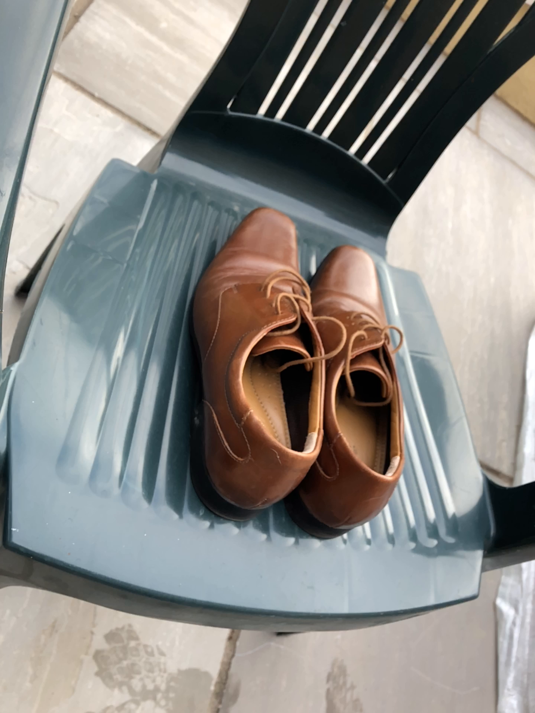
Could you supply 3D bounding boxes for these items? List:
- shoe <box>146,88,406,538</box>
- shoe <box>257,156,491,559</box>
[{"bbox_3d":[0.016,-0.033,0.433,0.110,0.109,0.291,21,60,-21],"label":"shoe"},{"bbox_3d":[0.093,-0.001,0.471,0.110,0.109,0.281,24,59,-19],"label":"shoe"}]
